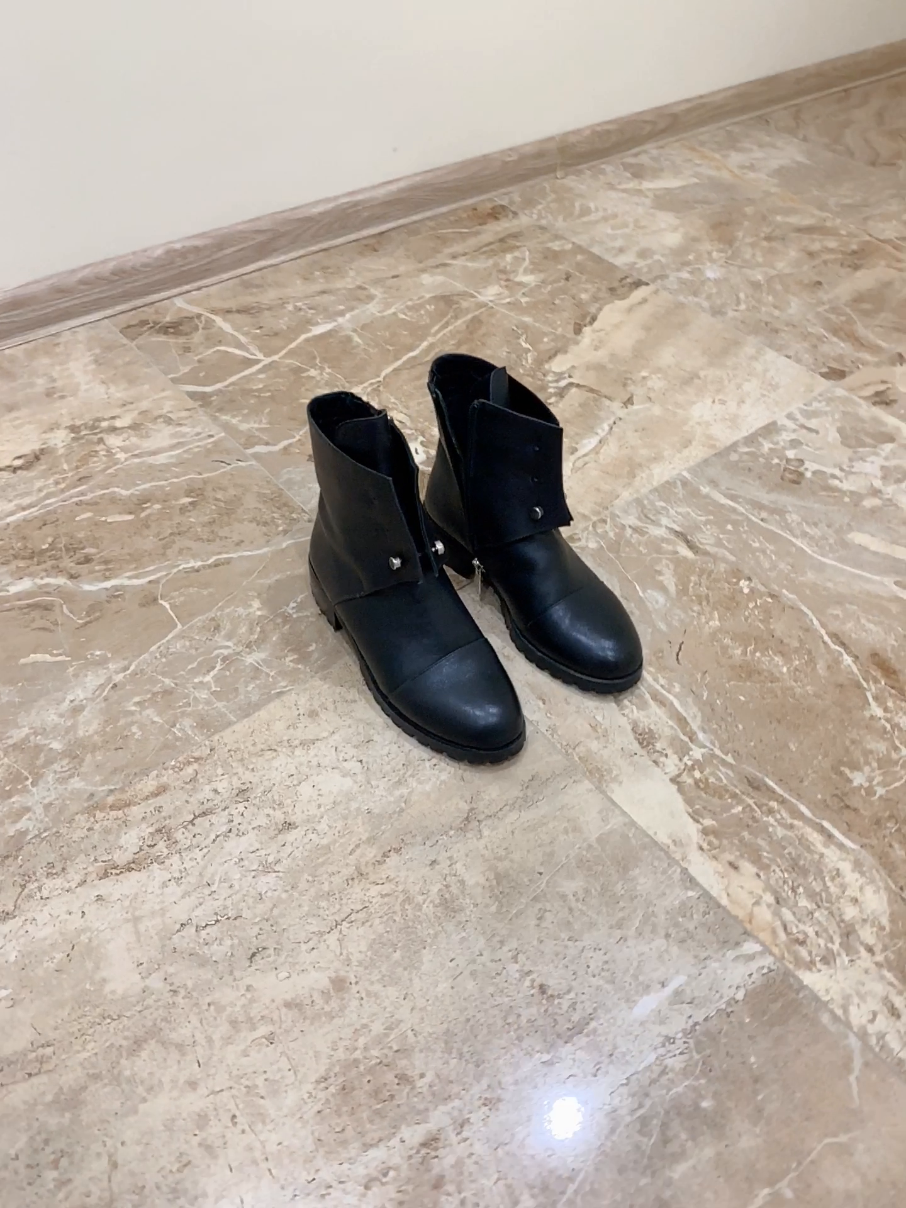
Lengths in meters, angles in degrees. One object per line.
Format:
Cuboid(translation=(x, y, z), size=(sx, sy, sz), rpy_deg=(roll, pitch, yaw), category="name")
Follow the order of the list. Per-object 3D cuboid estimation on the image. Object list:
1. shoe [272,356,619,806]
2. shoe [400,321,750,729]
Cuboid(translation=(-0.021, -0.019, 0.670), size=(0.090, 0.199, 0.251), rpy_deg=(-27, 56, -27), category="shoe")
Cuboid(translation=(0.074, -0.064, 0.724), size=(0.090, 0.199, 0.251), rpy_deg=(-31, 55, -29), category="shoe")
